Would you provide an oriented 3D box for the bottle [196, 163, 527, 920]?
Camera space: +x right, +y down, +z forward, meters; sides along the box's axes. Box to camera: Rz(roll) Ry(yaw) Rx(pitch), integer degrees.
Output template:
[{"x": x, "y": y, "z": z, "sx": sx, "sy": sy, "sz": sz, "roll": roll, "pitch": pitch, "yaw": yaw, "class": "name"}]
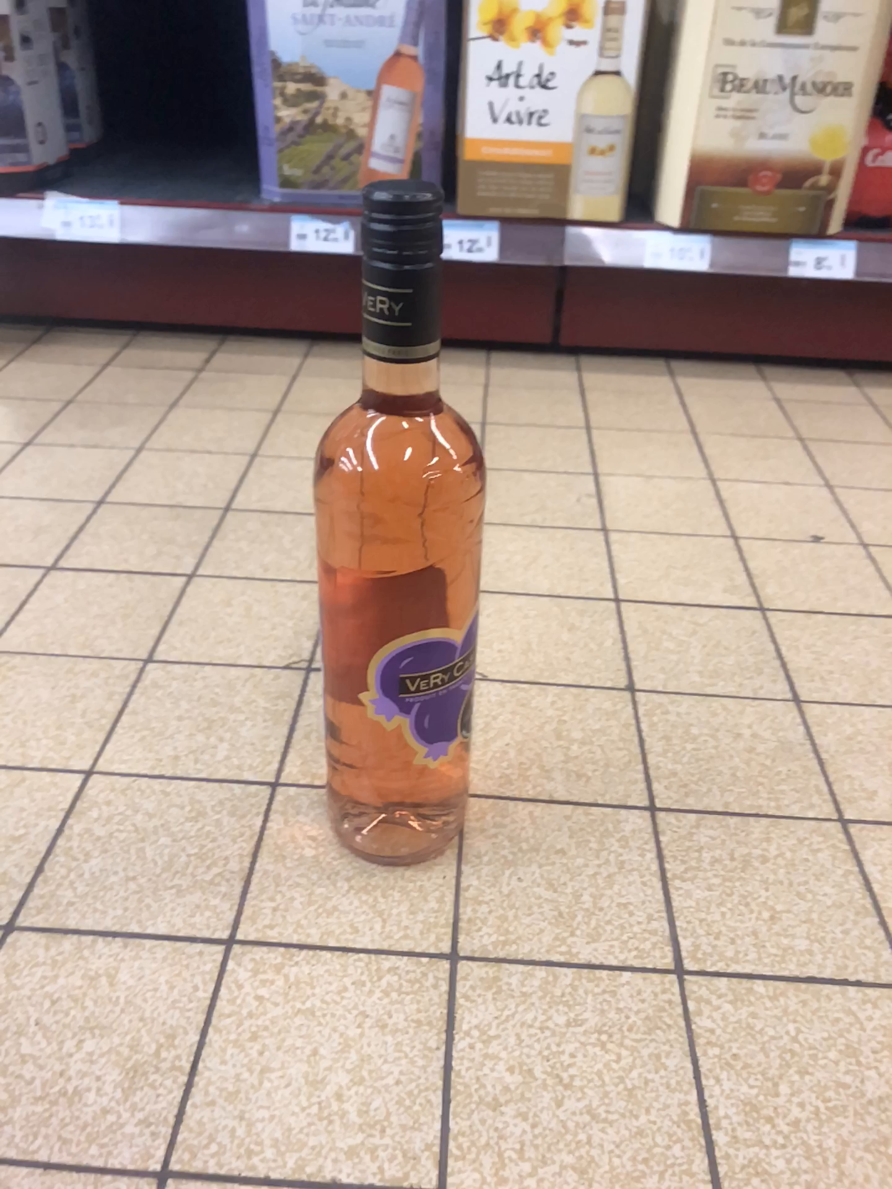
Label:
[{"x": -0.032, "y": -0.010, "z": 0.411, "sx": 0.080, "sy": 0.298, "sz": 0.081, "roll": 2, "pitch": 32, "yaw": -1, "class": "bottle"}]
